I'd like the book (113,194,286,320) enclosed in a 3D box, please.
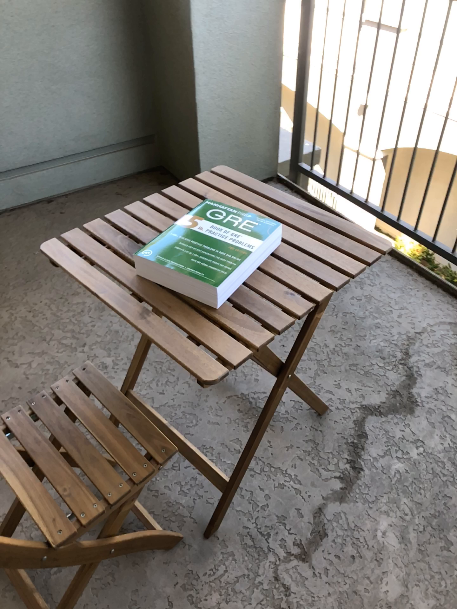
[{"bbox_3d":[-0.055,-0.123,1.130,0.250,0.060,0.311,22,46,24],"label":"book"}]
